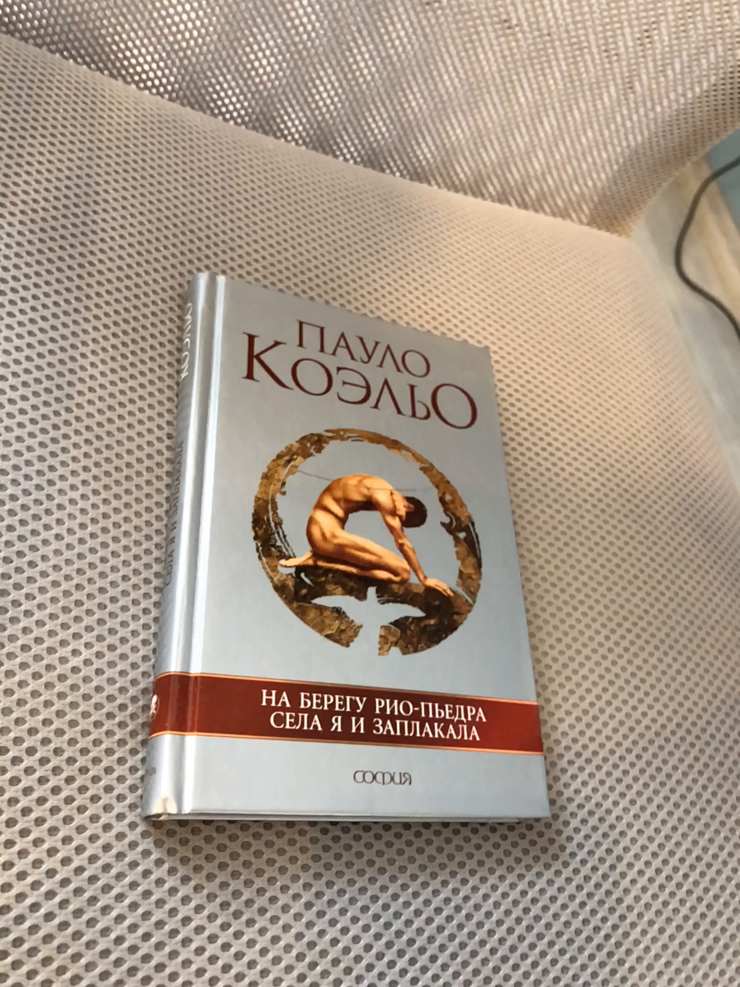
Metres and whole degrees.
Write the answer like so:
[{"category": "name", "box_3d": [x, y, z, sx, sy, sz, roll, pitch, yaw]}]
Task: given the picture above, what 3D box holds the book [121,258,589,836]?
[{"category": "book", "box_3d": [-0.002, 0.015, 0.264, 0.131, 0.020, 0.174, 11, 59, -24]}]
